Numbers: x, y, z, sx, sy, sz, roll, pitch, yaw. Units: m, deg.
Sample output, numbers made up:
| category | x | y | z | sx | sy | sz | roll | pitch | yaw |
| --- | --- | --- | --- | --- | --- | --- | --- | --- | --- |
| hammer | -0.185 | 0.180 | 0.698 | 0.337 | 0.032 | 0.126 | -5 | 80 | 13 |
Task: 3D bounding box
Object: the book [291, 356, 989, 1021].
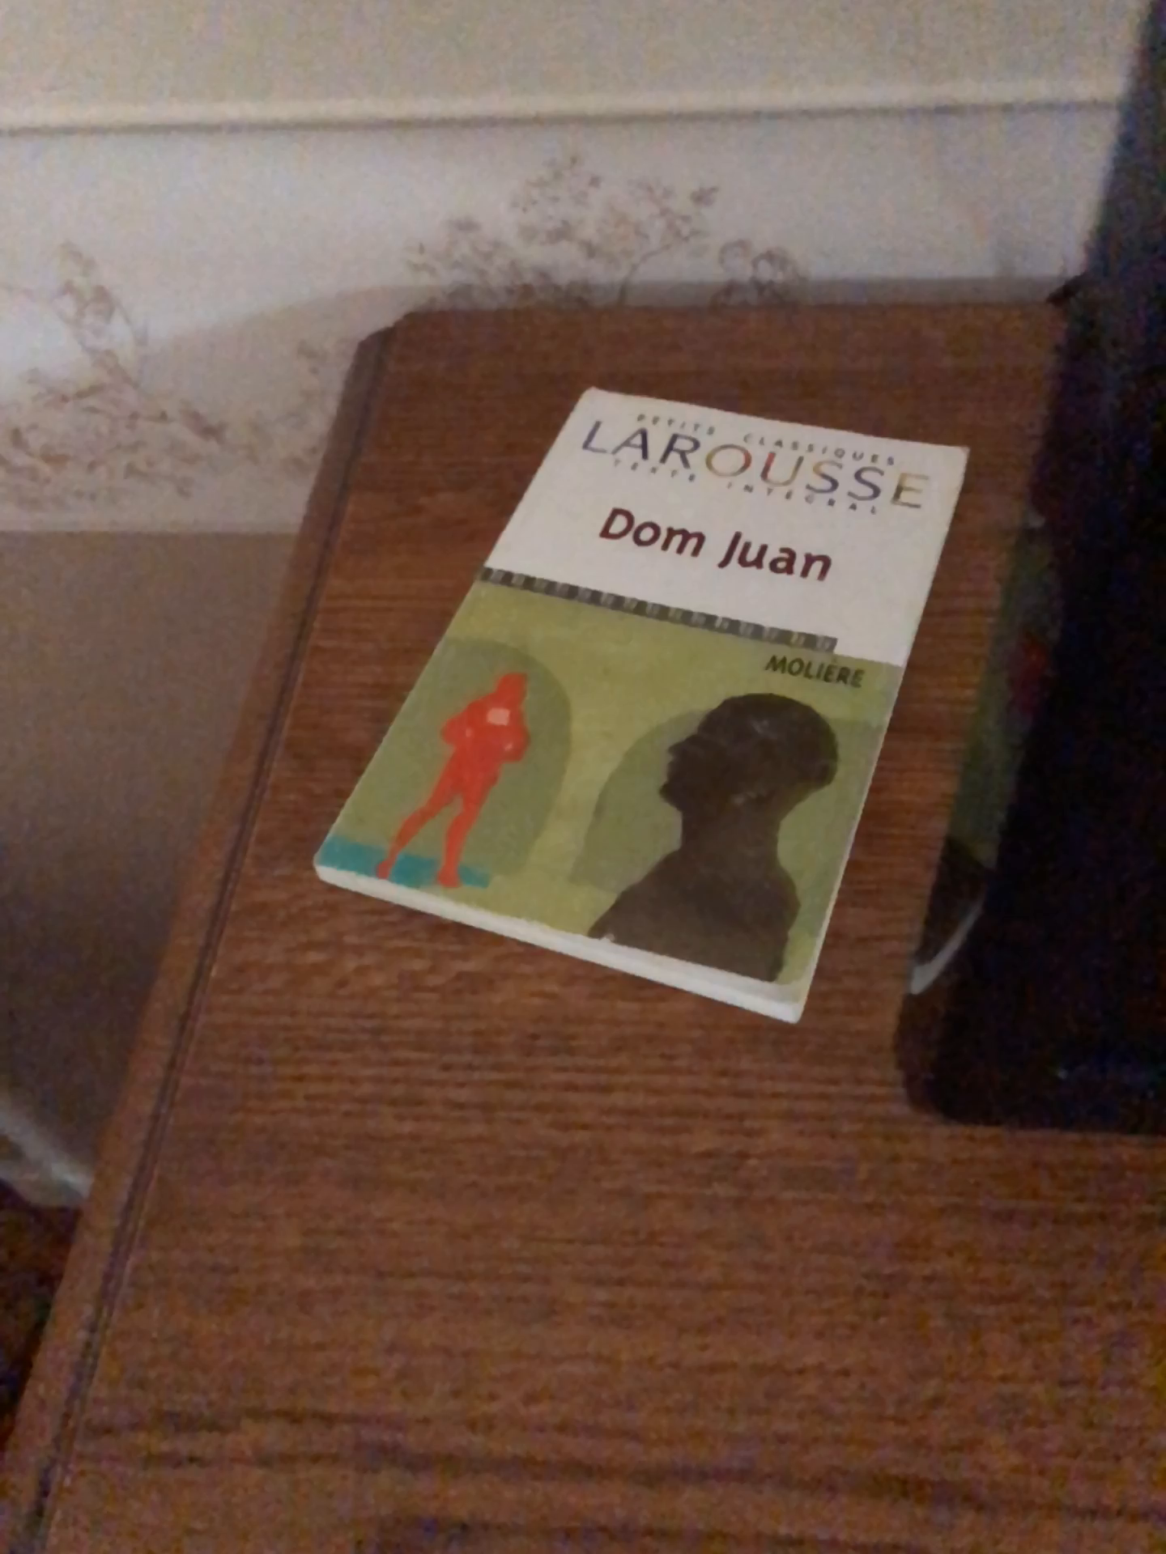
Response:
| category | x | y | z | sx | sy | sz | roll | pitch | yaw |
| --- | --- | --- | --- | --- | --- | --- | --- | --- | --- |
| book | 0.023 | -0.037 | 0.317 | 0.115 | 0.010 | 0.181 | 15 | 56 | 16 |
